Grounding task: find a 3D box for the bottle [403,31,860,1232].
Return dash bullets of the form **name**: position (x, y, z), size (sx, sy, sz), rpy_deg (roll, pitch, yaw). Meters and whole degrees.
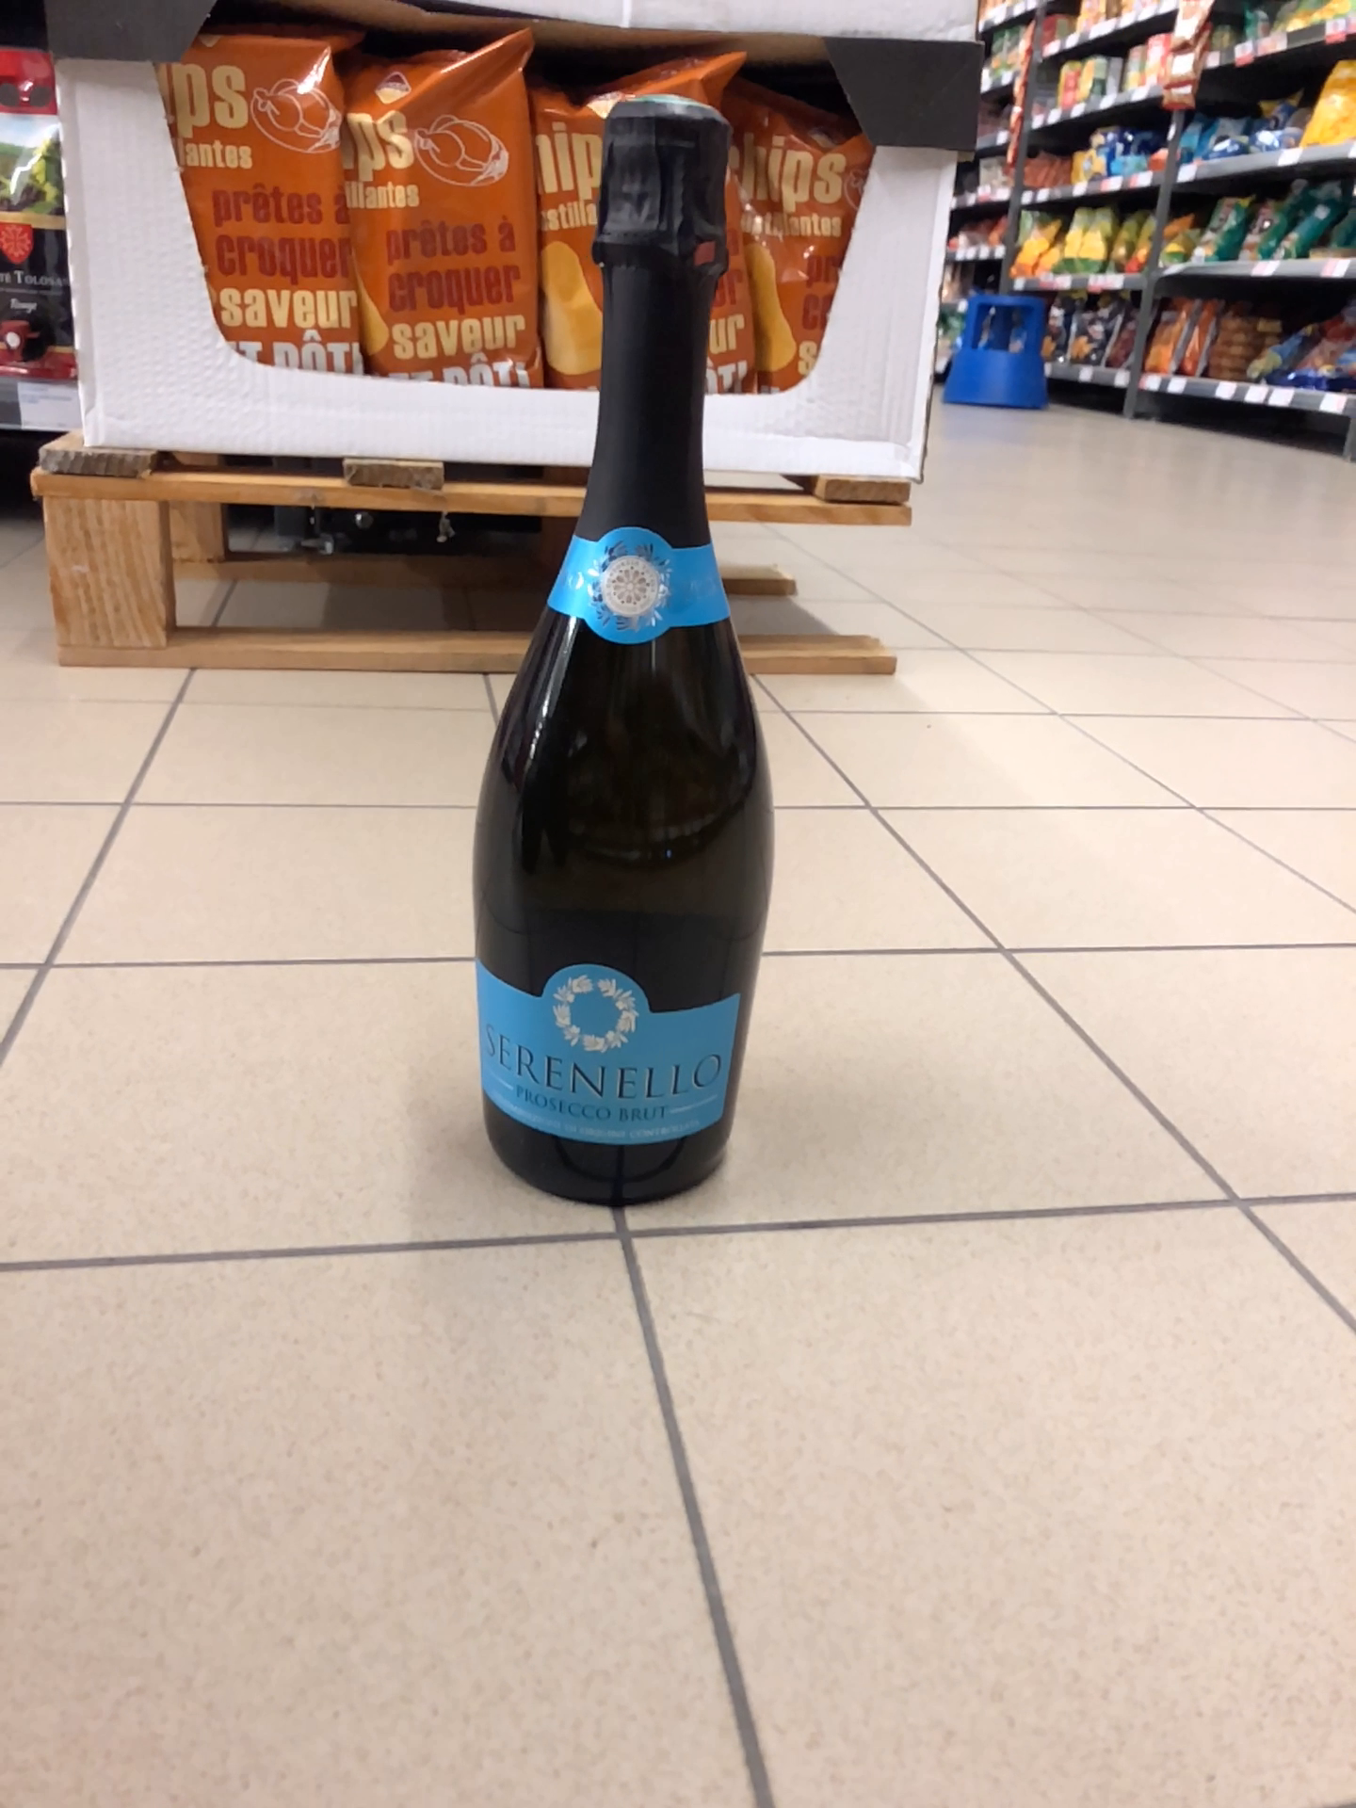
- **bottle**: position (-0.014, -0.066, 0.421), size (0.100, 0.298, 0.090), rpy_deg (6, 21, 5)
